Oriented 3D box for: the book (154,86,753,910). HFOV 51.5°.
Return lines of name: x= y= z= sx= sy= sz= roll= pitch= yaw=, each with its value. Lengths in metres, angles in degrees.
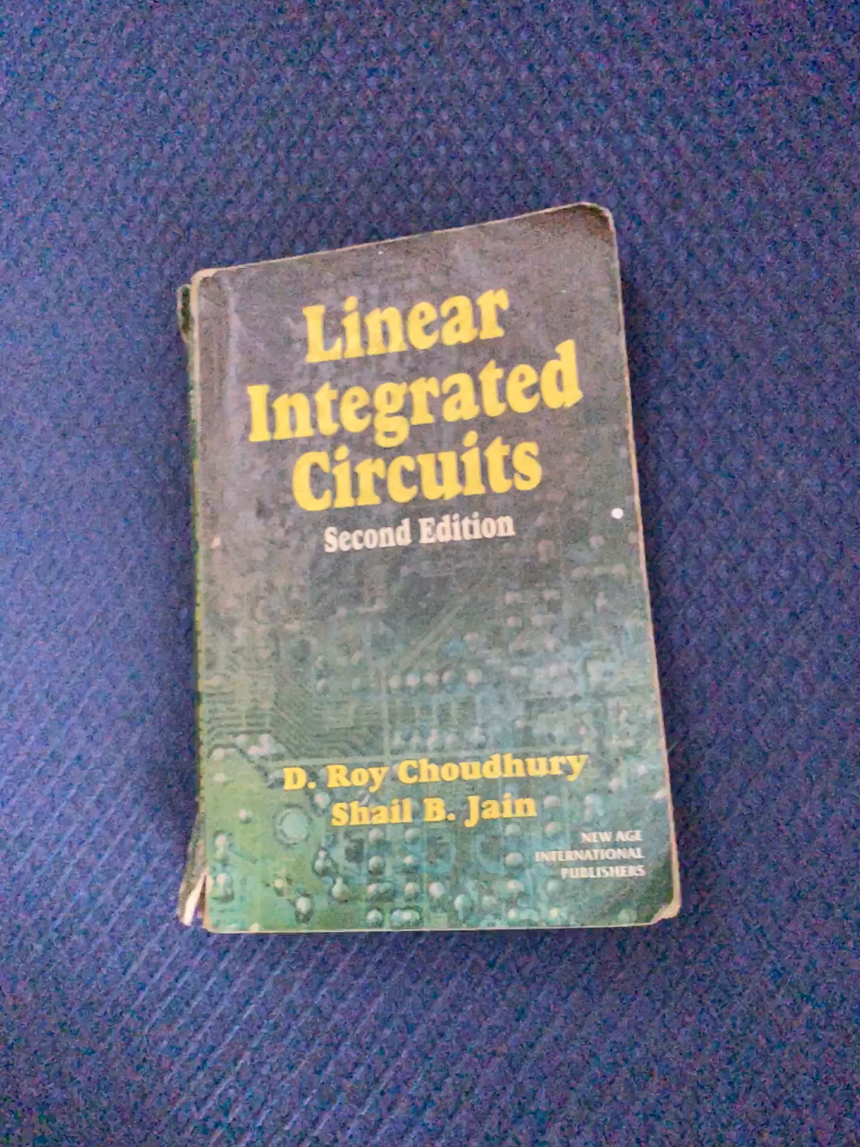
book: x=-0.001 y=-0.025 z=0.324 sx=0.190 sy=0.040 sz=0.270 roll=-5 pitch=81 yaw=10
